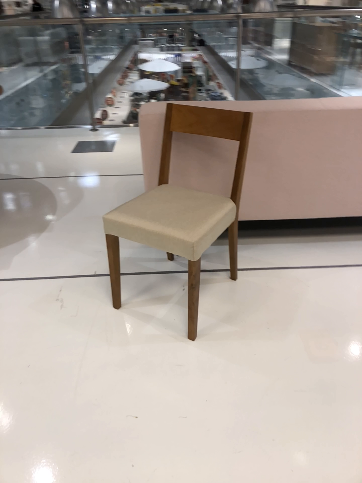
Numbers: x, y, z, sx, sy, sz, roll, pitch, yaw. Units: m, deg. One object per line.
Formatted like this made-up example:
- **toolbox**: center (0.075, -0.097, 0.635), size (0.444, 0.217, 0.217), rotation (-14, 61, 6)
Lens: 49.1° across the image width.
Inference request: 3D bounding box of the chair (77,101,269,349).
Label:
- **chair**: center (0.002, -0.112, 1.726), size (0.491, 0.814, 0.593), rotation (17, 35, 29)
